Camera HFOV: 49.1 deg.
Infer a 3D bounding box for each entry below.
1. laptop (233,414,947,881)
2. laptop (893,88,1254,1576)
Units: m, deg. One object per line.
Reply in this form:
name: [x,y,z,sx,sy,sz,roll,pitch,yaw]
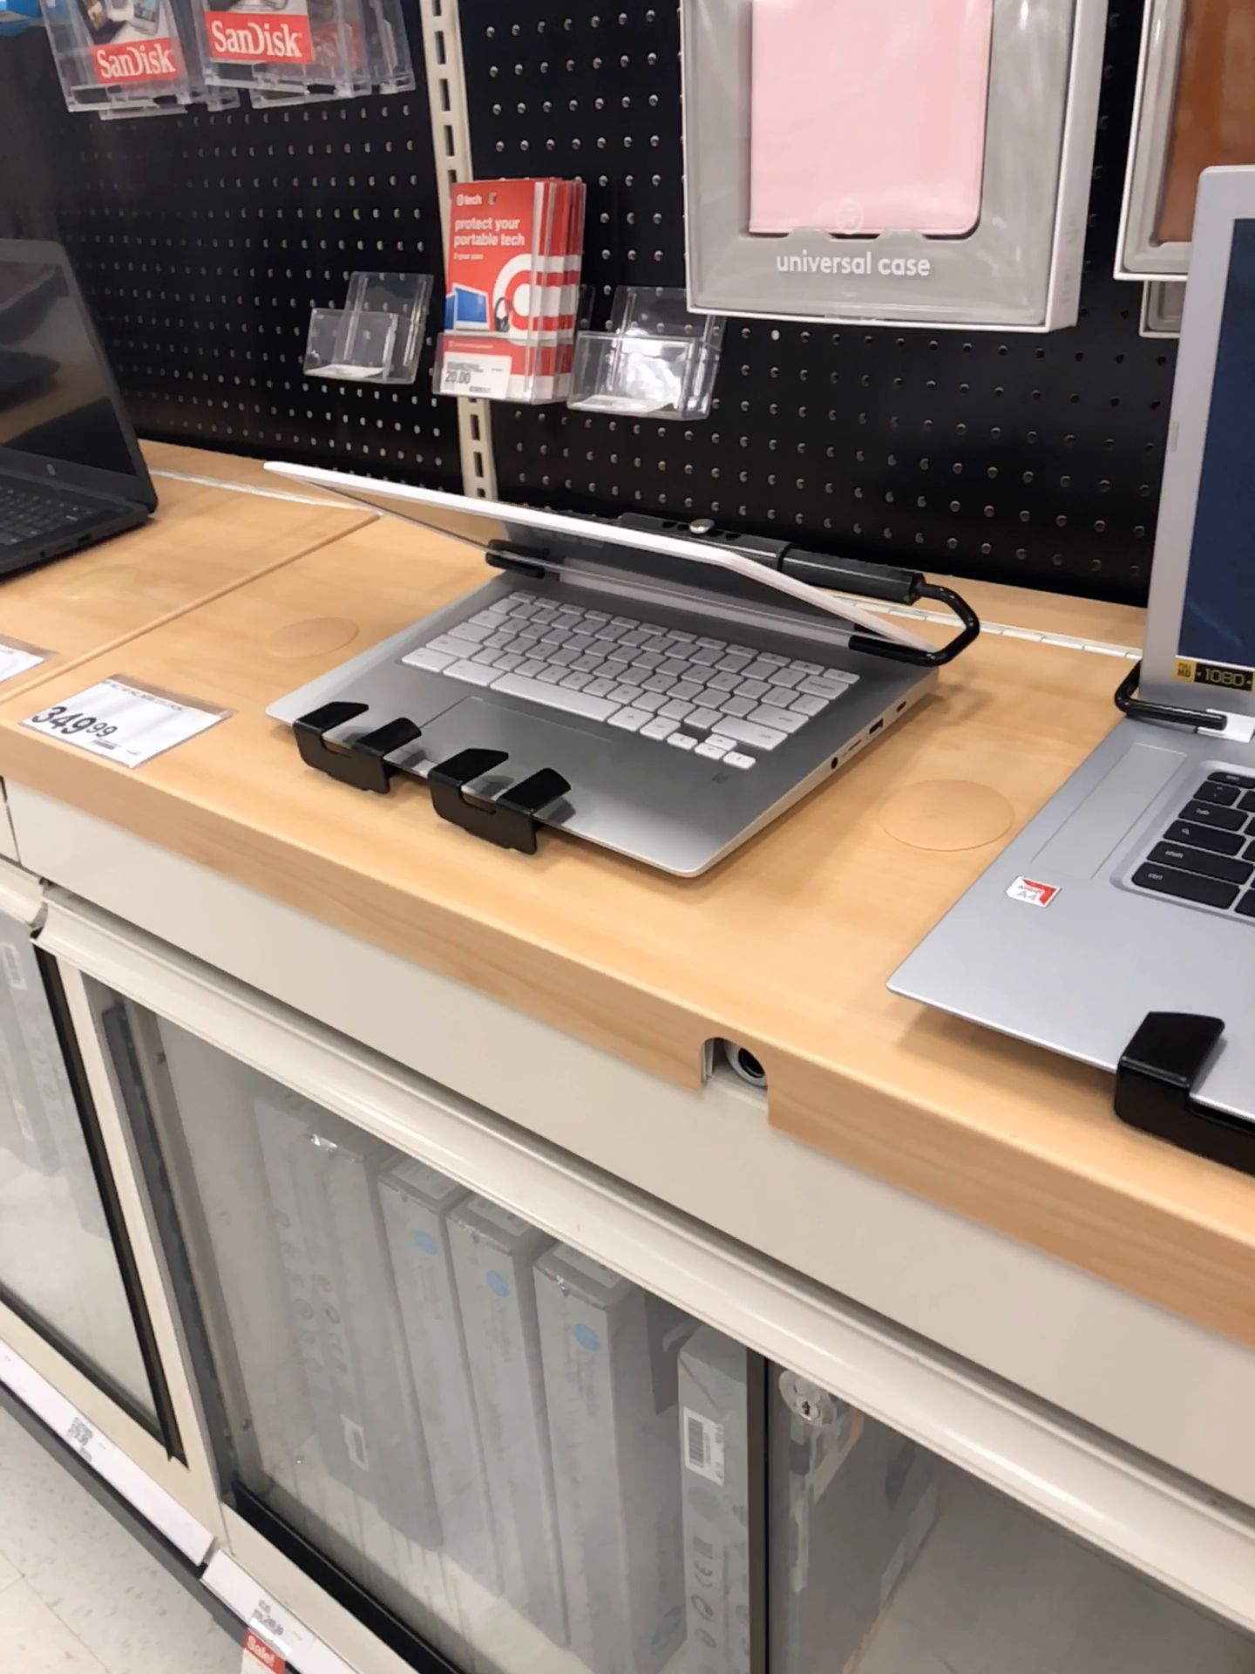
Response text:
laptop: [-0.028,-0.128,0.757,0.331,0.100,0.215,21,44,38]
laptop: [0.326,-0.069,0.441,0.389,0.244,0.273,17,37,35]
